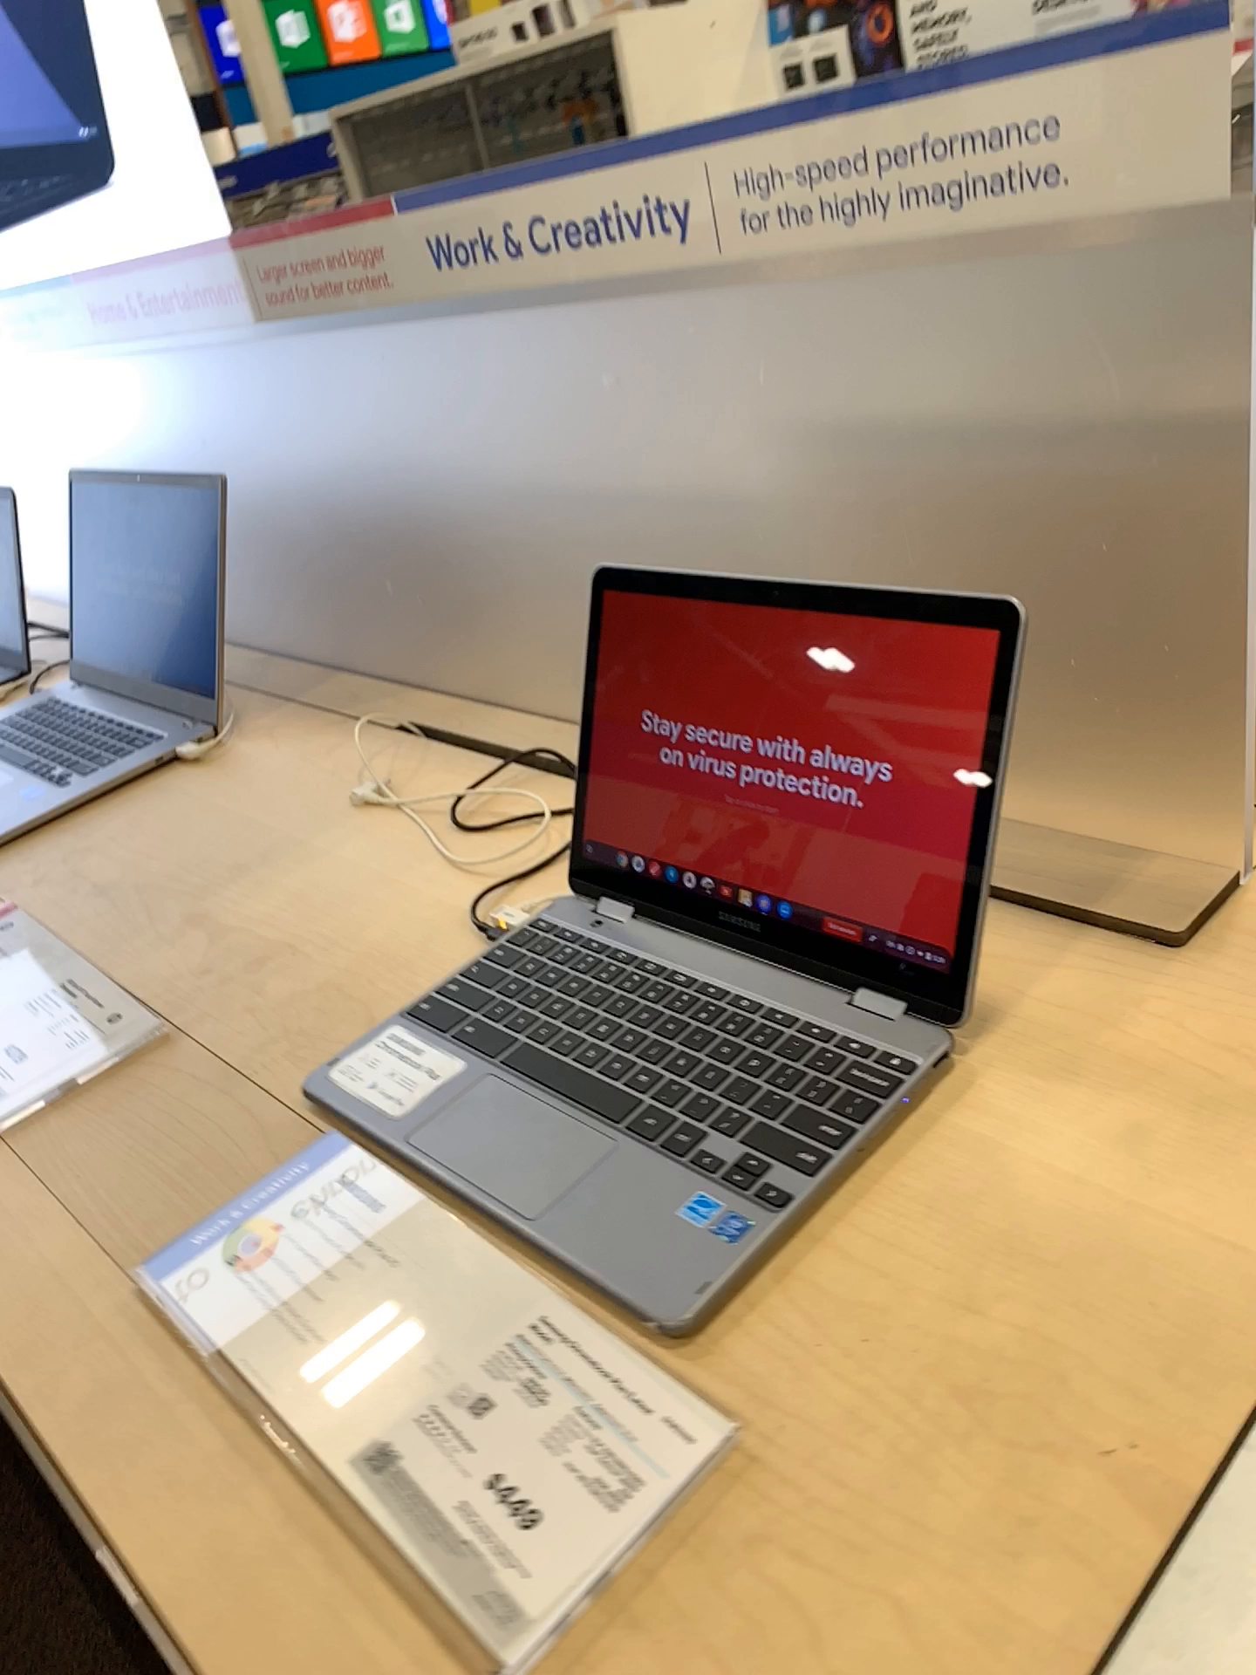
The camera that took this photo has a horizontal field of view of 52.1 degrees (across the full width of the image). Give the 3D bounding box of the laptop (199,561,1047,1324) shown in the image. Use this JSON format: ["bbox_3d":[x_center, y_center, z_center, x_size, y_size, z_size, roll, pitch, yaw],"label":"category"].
[{"bbox_3d":[0.004,0.013,0.626,0.275,0.183,0.275,-34,34,-33],"label":"laptop"}]
